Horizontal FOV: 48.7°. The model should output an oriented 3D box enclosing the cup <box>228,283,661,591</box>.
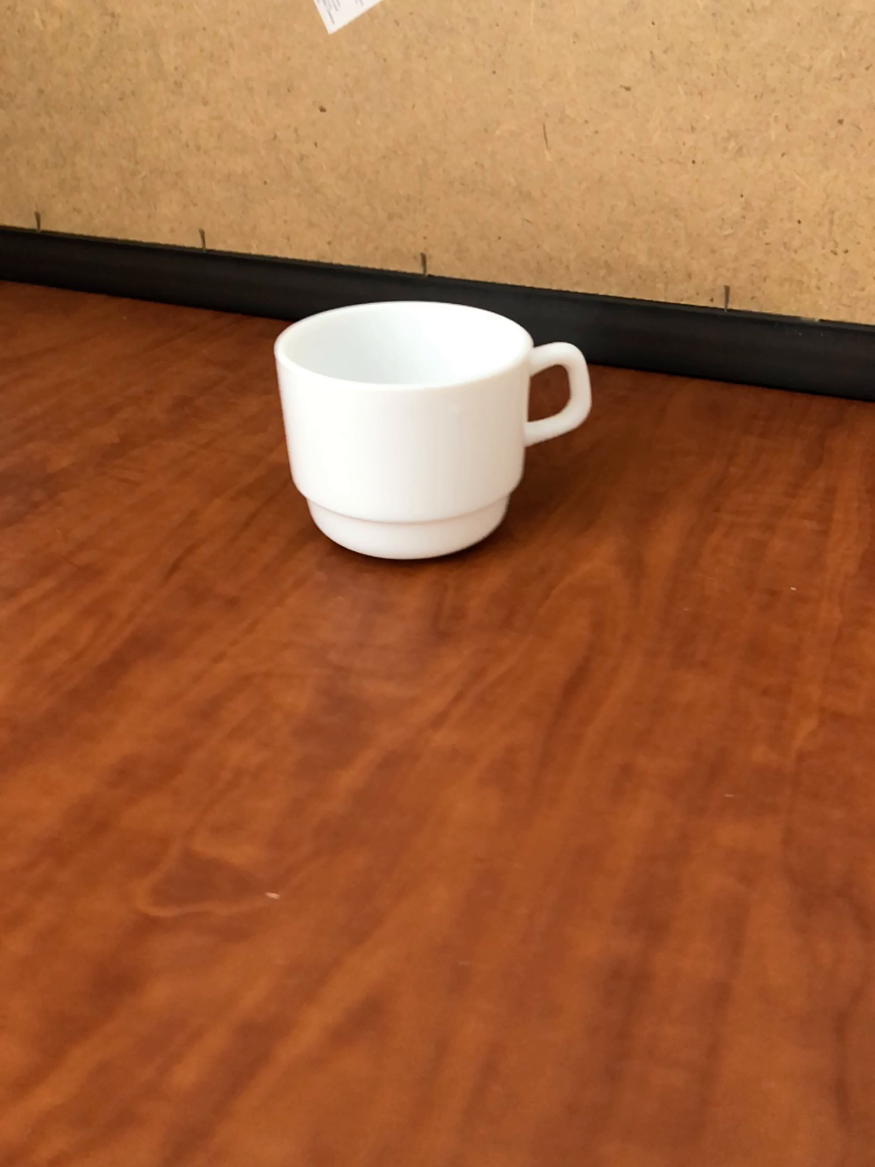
[{"bbox_3d":[-0.002,-0.056,0.333,0.120,0.060,0.087,-11,34,-17],"label":"cup"}]
